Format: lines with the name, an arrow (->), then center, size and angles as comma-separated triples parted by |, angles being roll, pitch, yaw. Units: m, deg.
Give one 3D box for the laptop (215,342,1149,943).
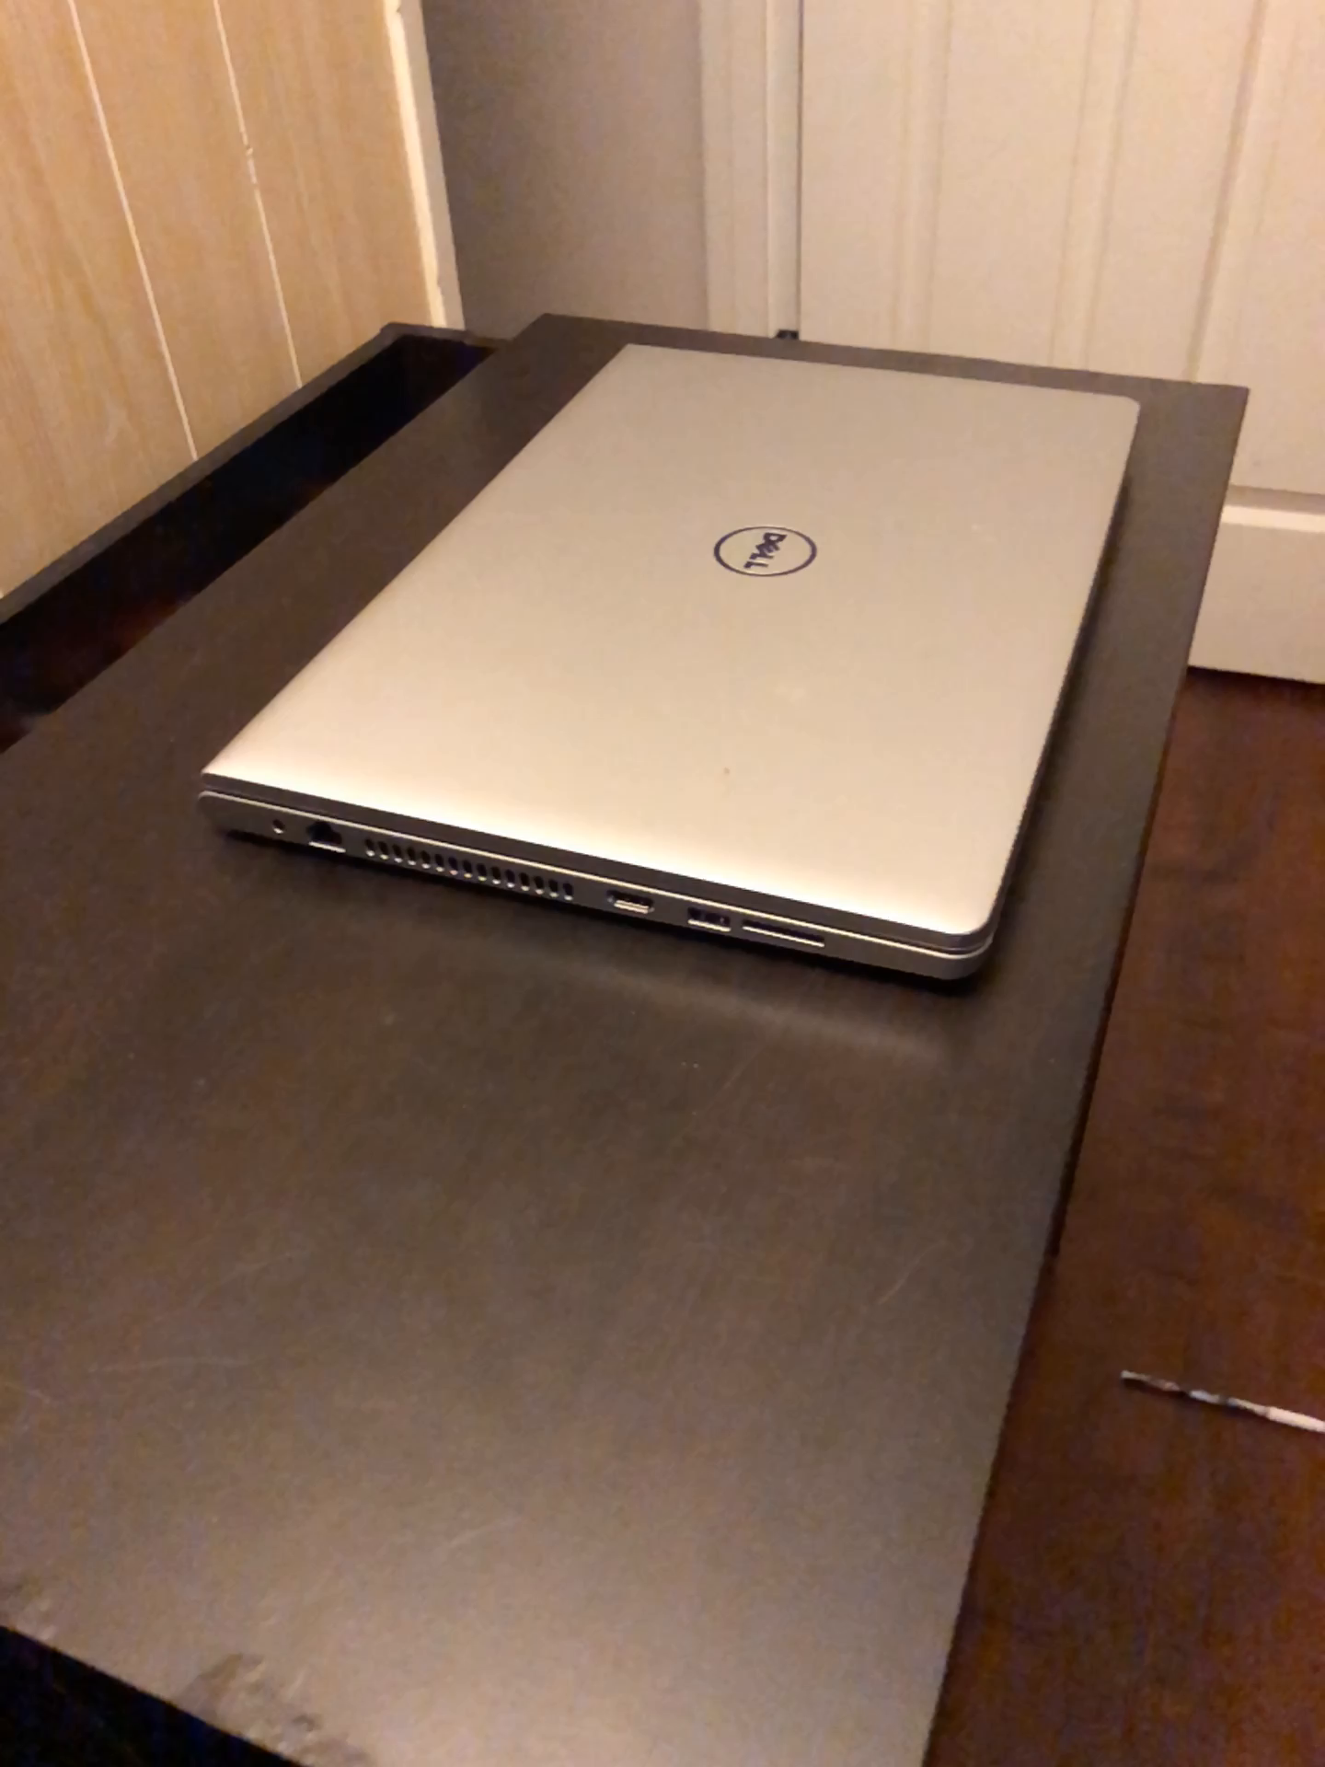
laptop -> 0.038, -0.127, 0.562 | 0.249, 0.003, 0.372 | 12, 44, 16
